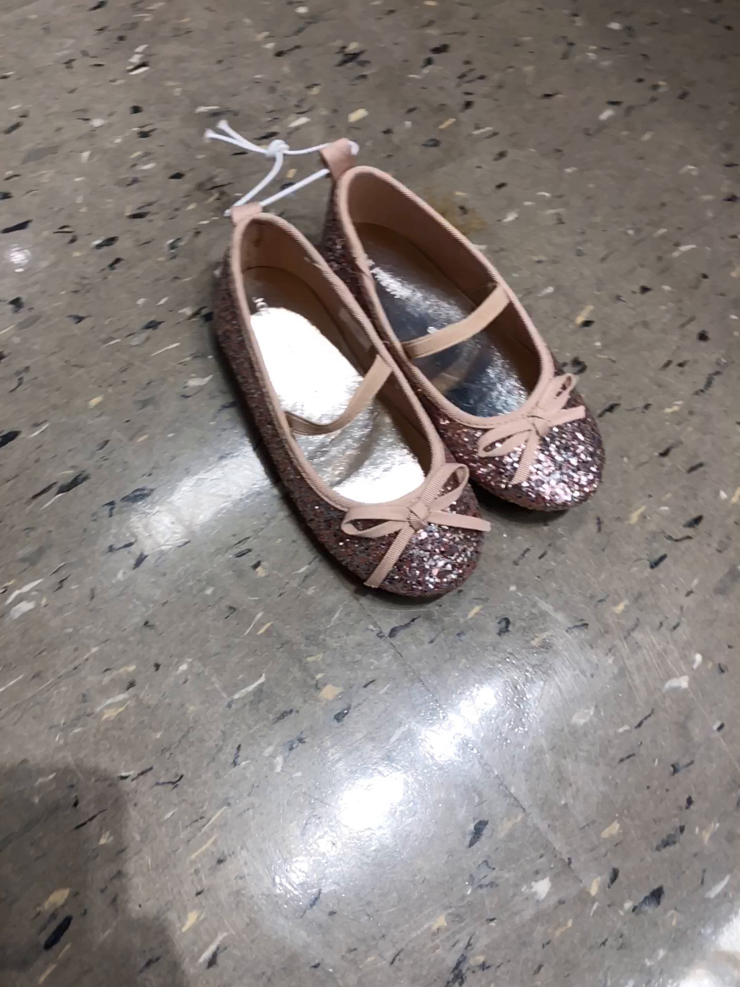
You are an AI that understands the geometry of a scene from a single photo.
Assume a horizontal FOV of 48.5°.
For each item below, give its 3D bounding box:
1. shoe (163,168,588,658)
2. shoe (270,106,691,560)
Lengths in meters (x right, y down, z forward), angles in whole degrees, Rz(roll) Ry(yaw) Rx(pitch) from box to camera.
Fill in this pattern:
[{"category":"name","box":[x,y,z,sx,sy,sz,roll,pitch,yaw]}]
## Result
[{"category":"shoe","box":[-0.005,-0.030,0.315,0.070,0.070,0.160,-30,76,-19]},{"category":"shoe","box":[0.036,-0.065,0.338,0.070,0.070,0.160,-35,78,-20]}]
